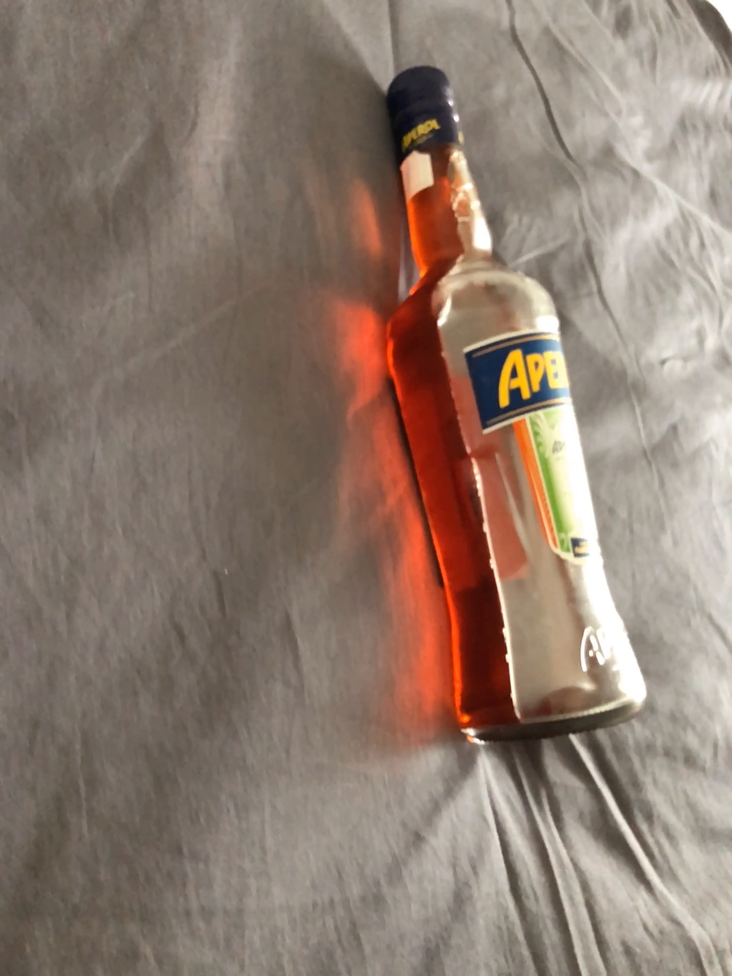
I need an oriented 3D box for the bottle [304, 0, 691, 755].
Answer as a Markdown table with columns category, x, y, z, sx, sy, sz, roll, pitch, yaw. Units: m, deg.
| category | x | y | z | sx | sy | sz | roll | pitch | yaw |
| --- | --- | --- | --- | --- | --- | --- | --- | --- | --- |
| bottle | 0.055 | -0.056 | 0.367 | 0.101 | 0.070 | 0.320 | 2 | 74 | -45 |
